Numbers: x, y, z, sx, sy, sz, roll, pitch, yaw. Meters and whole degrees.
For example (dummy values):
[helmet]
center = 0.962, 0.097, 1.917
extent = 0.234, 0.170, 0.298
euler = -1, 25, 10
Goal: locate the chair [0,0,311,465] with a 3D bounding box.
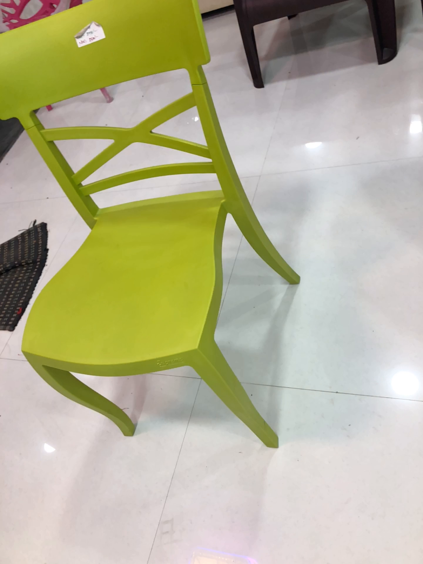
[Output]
[chair]
center = -0.159, -0.091, 0.954
extent = 0.500, 0.806, 0.613
euler = -3, 52, 25
